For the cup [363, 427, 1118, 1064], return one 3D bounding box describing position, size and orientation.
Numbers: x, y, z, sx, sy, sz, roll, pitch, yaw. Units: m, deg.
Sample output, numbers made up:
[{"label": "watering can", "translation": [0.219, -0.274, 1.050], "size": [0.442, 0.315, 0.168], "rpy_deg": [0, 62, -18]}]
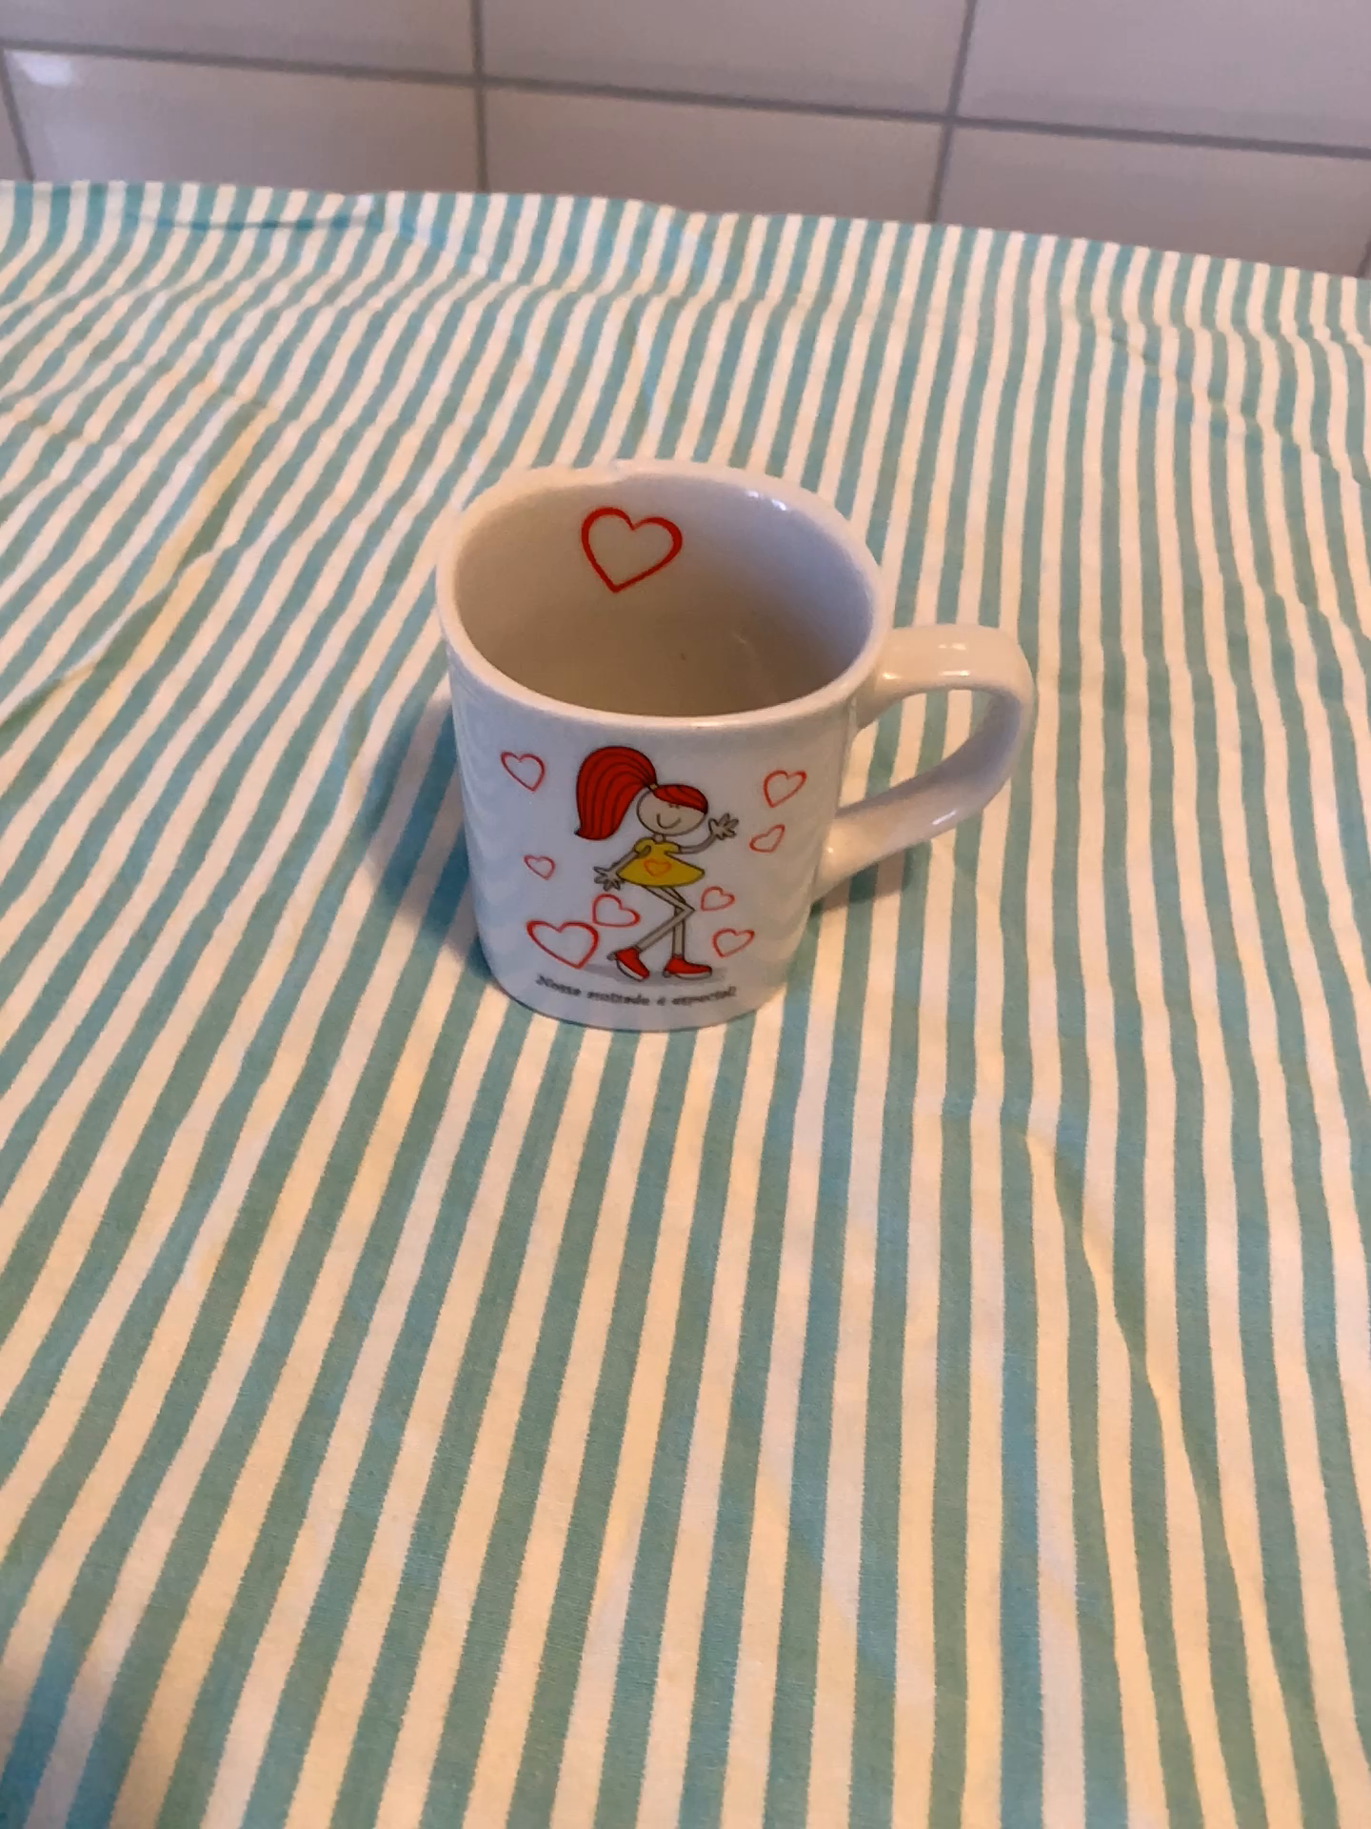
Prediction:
[{"label": "cup", "translation": [0.007, -0.029, 0.260], "size": [0.110, 0.080, 0.070], "rpy_deg": [5, 48, -1]}]
